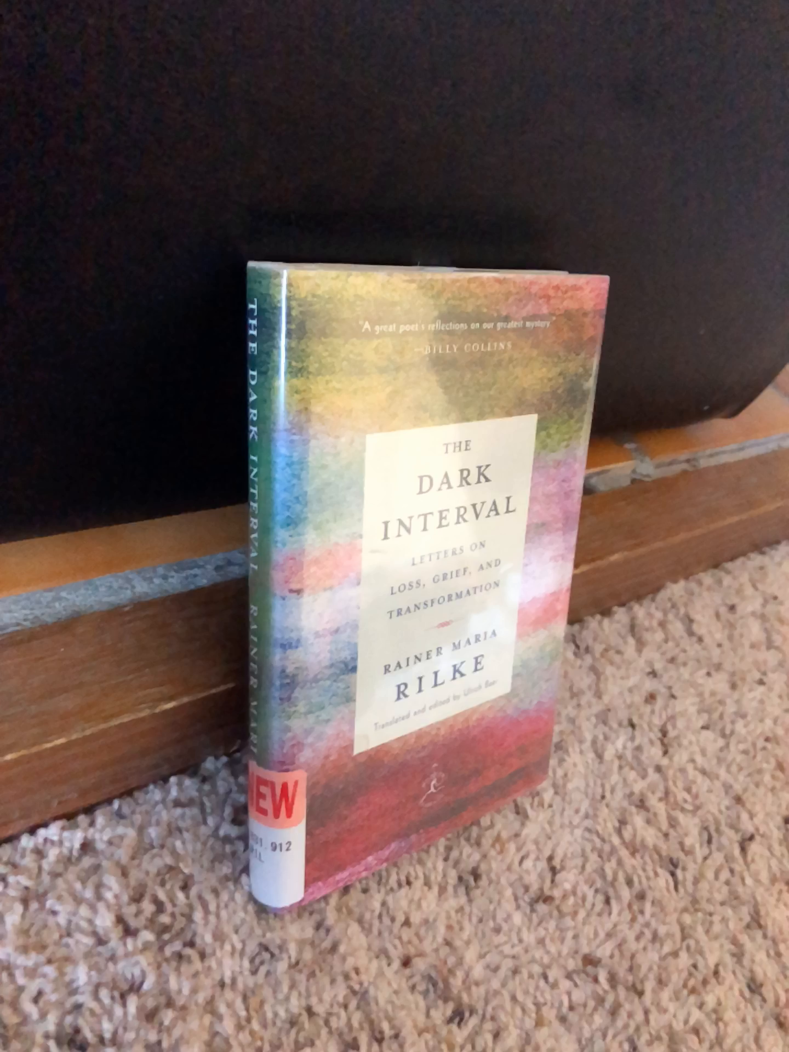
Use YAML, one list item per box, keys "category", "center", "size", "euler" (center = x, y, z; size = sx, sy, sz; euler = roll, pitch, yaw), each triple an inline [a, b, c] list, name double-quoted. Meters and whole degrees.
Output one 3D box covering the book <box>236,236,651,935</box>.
- category: "book"
  center: [0.017, 0.012, 0.278]
  size: [0.136, 0.190, 0.030]
  euler: [-11, 22, -40]
